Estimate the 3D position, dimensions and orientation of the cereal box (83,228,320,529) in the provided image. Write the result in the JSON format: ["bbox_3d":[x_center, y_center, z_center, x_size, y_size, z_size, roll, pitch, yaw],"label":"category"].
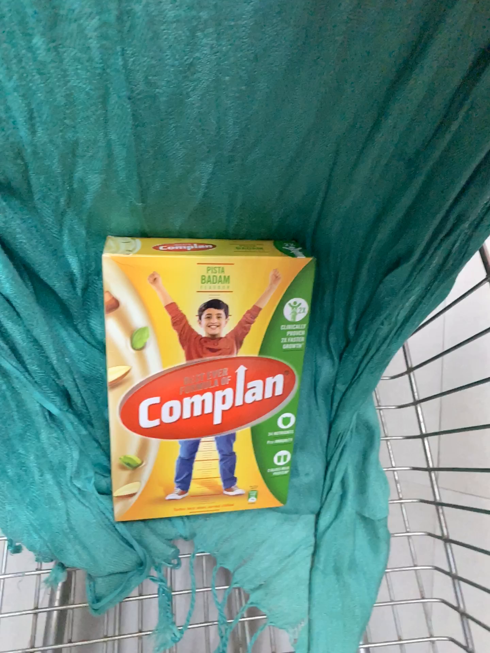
[{"bbox_3d":[-0.032,0.036,0.360,0.140,0.060,0.200,-2,111,-11],"label":"cereal box"}]
